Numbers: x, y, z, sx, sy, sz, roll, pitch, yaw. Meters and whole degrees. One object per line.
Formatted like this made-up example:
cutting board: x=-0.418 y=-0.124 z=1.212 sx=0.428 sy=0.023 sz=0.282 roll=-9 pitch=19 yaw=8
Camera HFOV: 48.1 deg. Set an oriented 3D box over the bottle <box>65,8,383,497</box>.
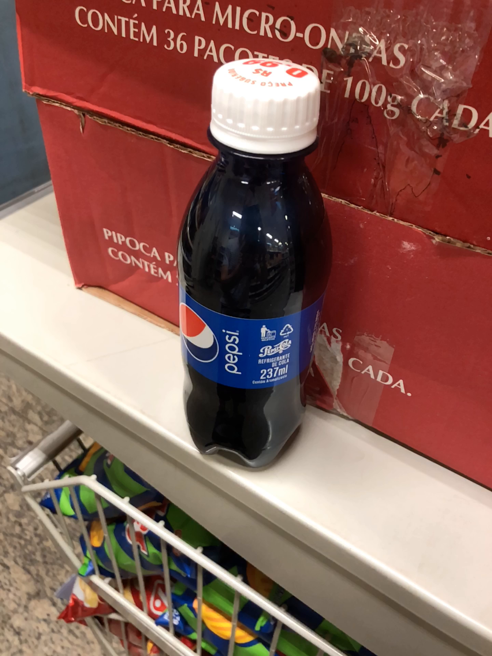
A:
bottle: x=-0.004 y=-0.018 z=0.193 sx=0.060 sy=0.149 sz=0.060 roll=0 pitch=42 yaw=0
